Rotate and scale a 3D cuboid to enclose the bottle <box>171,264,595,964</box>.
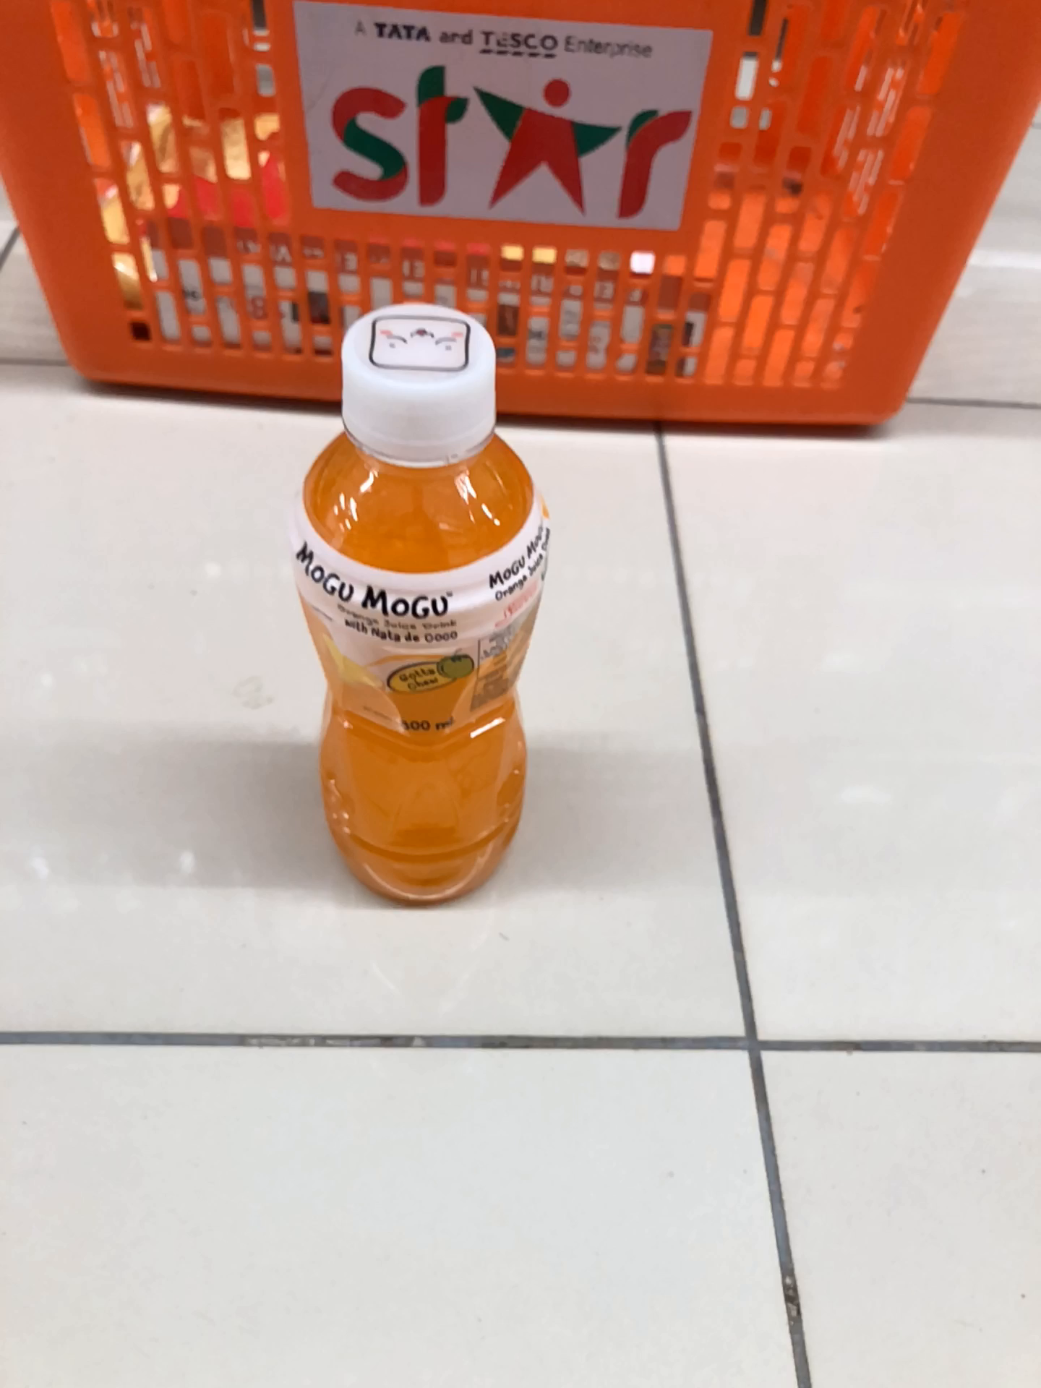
[{"bbox_3d":[-0.029,-0.008,0.275,0.060,0.159,0.050,24,52,16],"label":"bottle"}]
